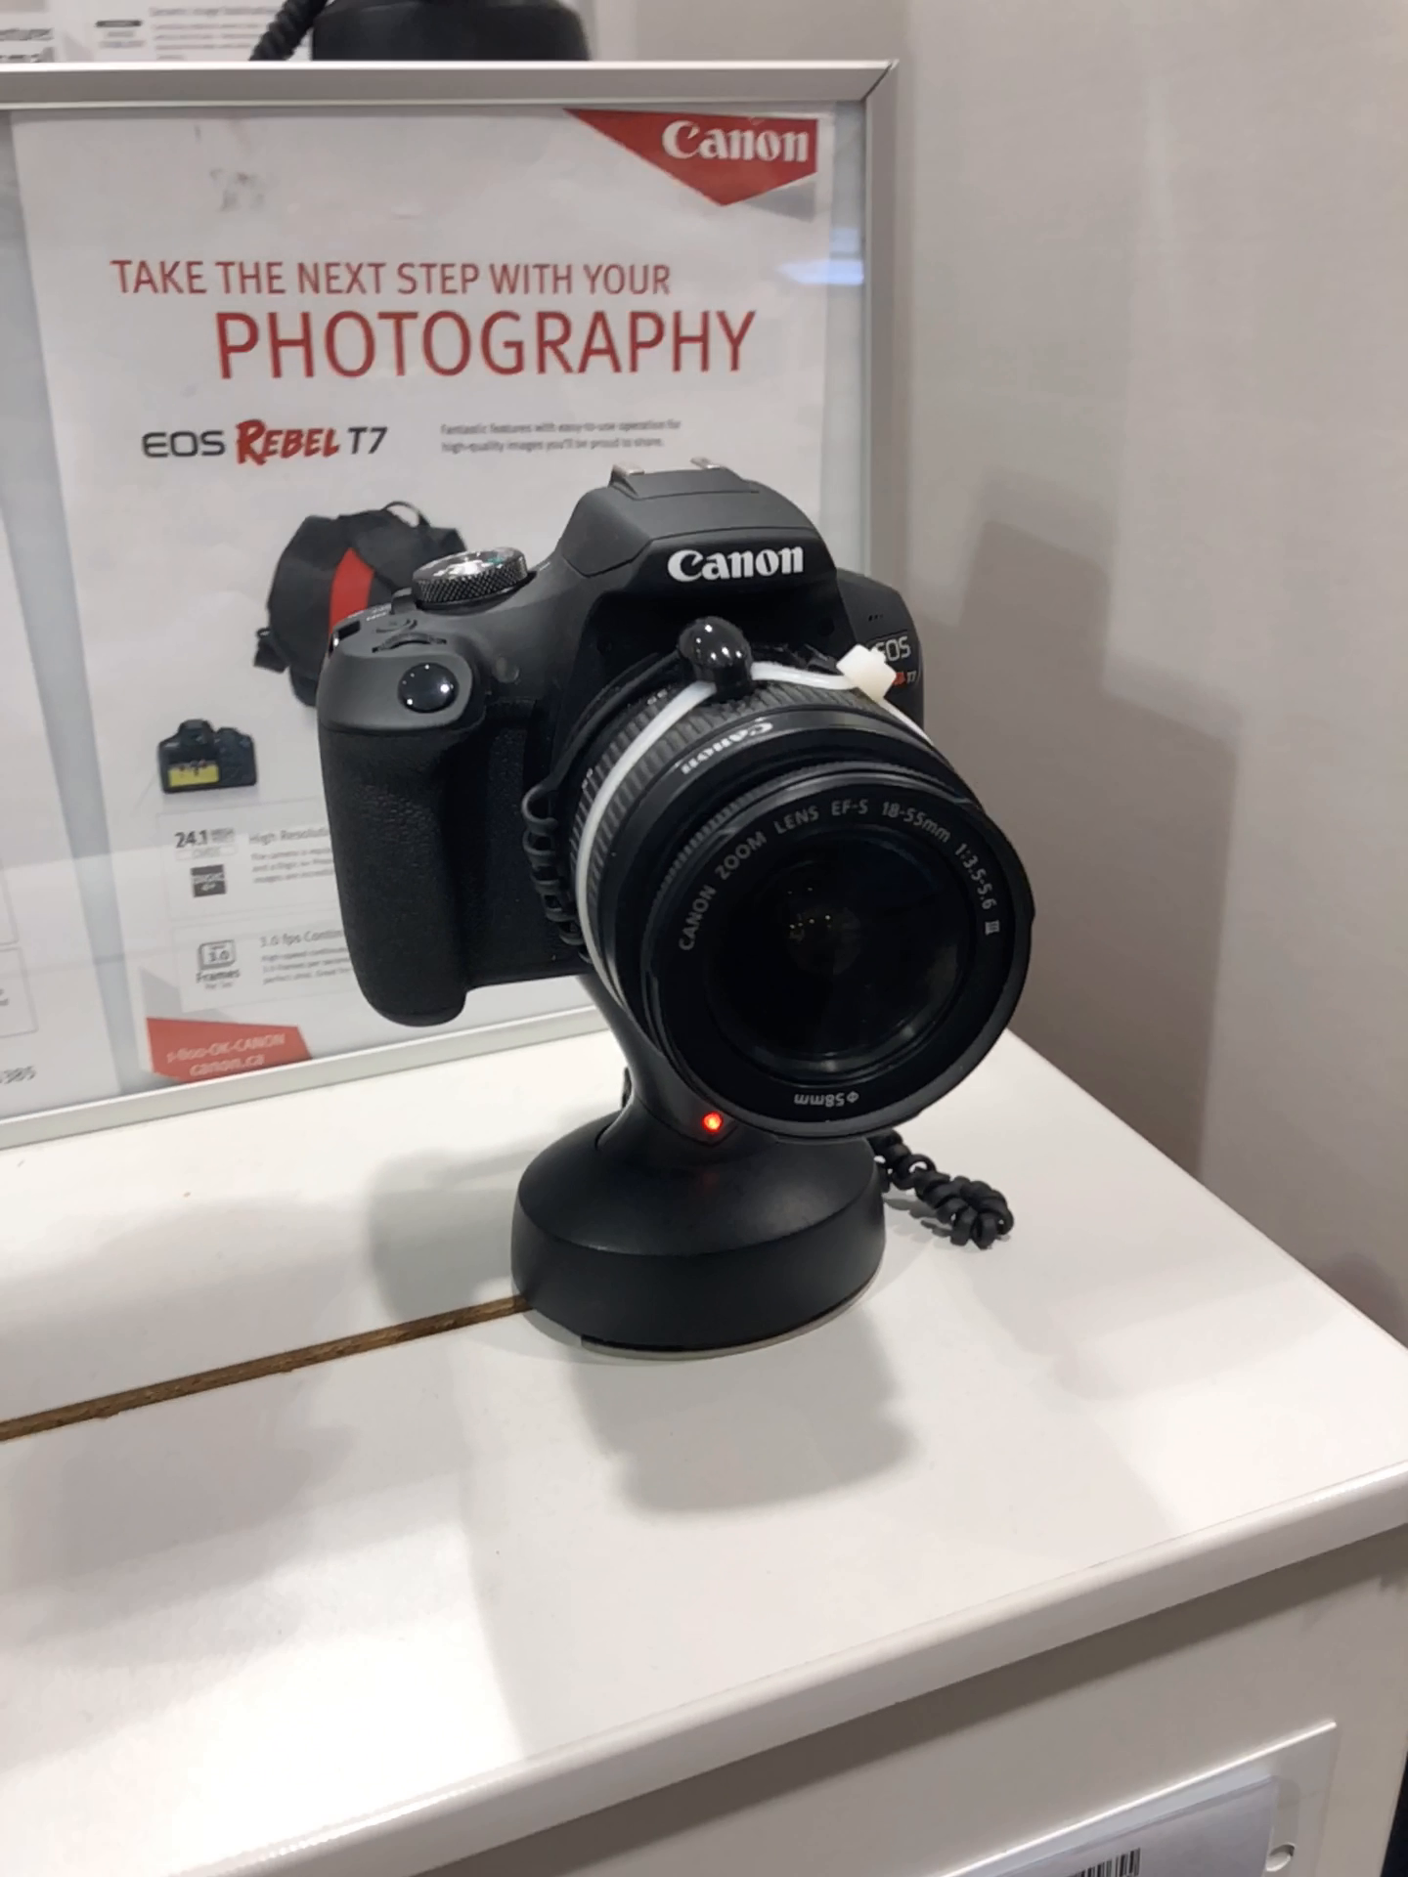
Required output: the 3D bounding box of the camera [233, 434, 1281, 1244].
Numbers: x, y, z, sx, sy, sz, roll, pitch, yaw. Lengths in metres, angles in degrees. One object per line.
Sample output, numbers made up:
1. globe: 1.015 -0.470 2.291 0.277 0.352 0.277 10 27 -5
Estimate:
1. camera: -0.004 -0.034 0.284 0.140 0.090 0.141 -9 24 -15
